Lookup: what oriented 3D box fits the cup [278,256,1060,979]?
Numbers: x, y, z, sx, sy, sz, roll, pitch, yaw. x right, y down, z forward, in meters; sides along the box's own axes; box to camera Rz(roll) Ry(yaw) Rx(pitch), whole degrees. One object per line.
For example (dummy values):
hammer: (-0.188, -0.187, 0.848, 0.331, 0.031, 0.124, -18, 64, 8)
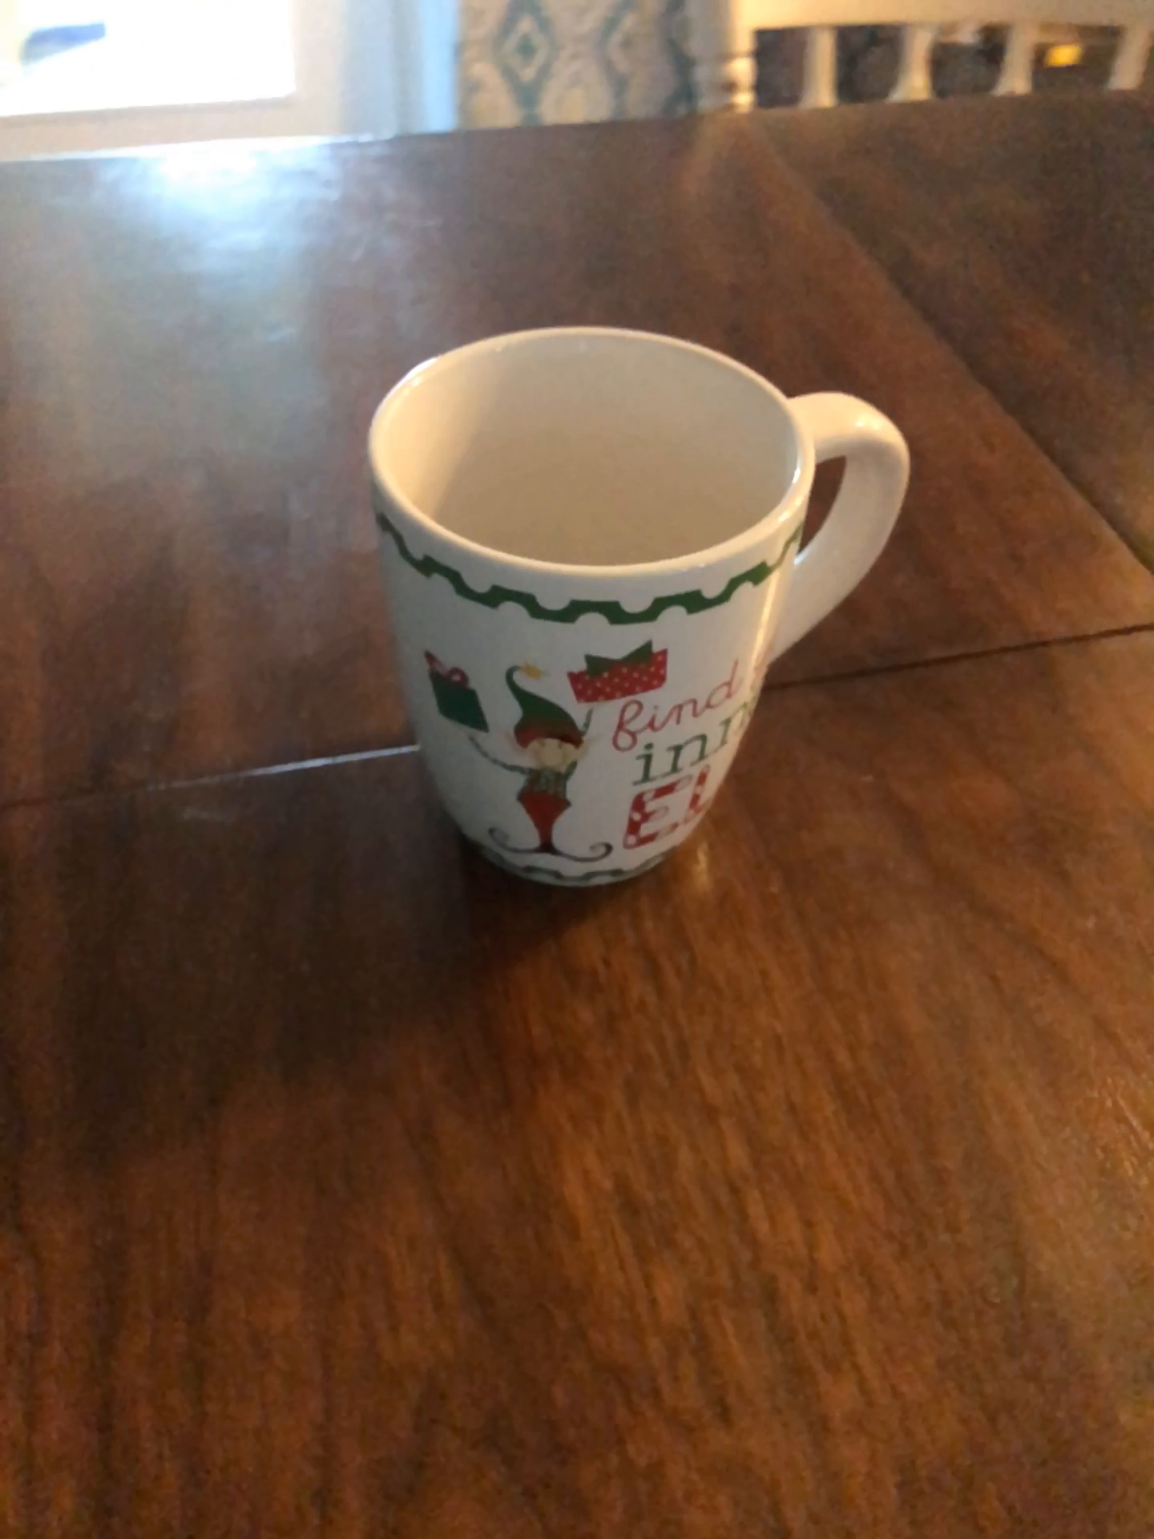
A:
cup: (0.020, -0.048, 0.363, 0.160, 0.120, 0.110, -22, 51, -21)
